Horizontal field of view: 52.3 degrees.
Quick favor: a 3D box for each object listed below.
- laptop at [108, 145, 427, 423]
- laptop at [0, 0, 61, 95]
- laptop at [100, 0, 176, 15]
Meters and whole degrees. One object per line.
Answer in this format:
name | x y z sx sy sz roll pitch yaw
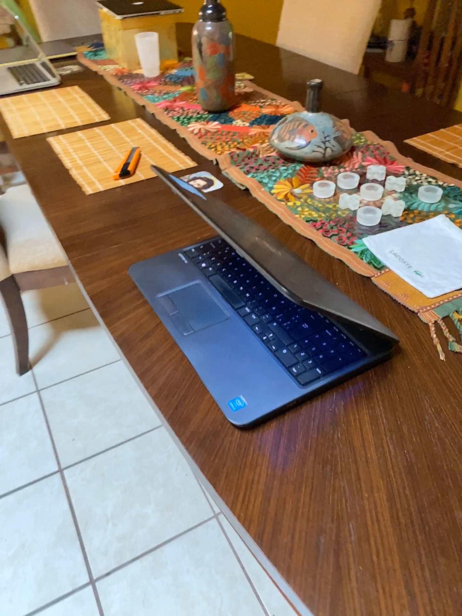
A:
laptop | 0.023 -0.066 0.656 0.248 0.159 0.357 -21 44 -21
laptop | -0.776 -0.922 1.644 0.221 0.207 0.373 -23 45 -22
laptop | -0.341 -1.095 1.701 0.201 0.001 0.293 -18 45 -20
